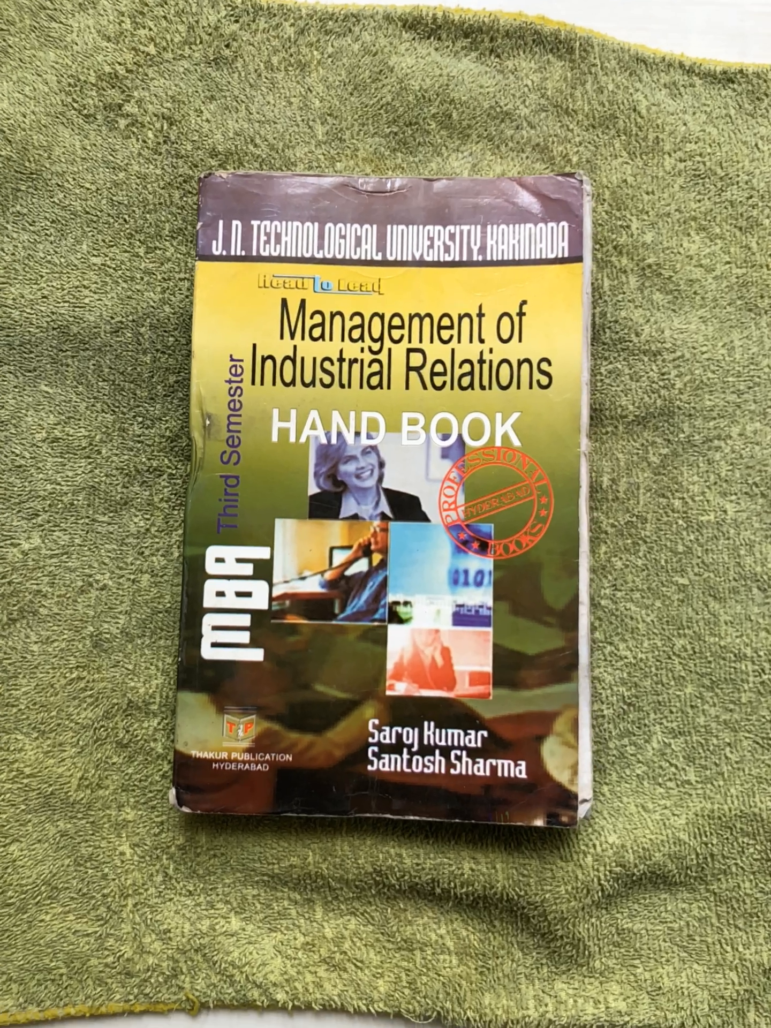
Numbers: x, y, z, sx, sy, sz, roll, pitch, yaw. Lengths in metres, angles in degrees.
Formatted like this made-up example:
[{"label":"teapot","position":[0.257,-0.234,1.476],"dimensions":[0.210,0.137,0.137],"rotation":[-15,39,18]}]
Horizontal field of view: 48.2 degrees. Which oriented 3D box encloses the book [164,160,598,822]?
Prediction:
[{"label":"book","position":[0.001,-0.009,0.314],"dimensions":[0.140,0.050,0.220],"rotation":[2,84,-2]}]
